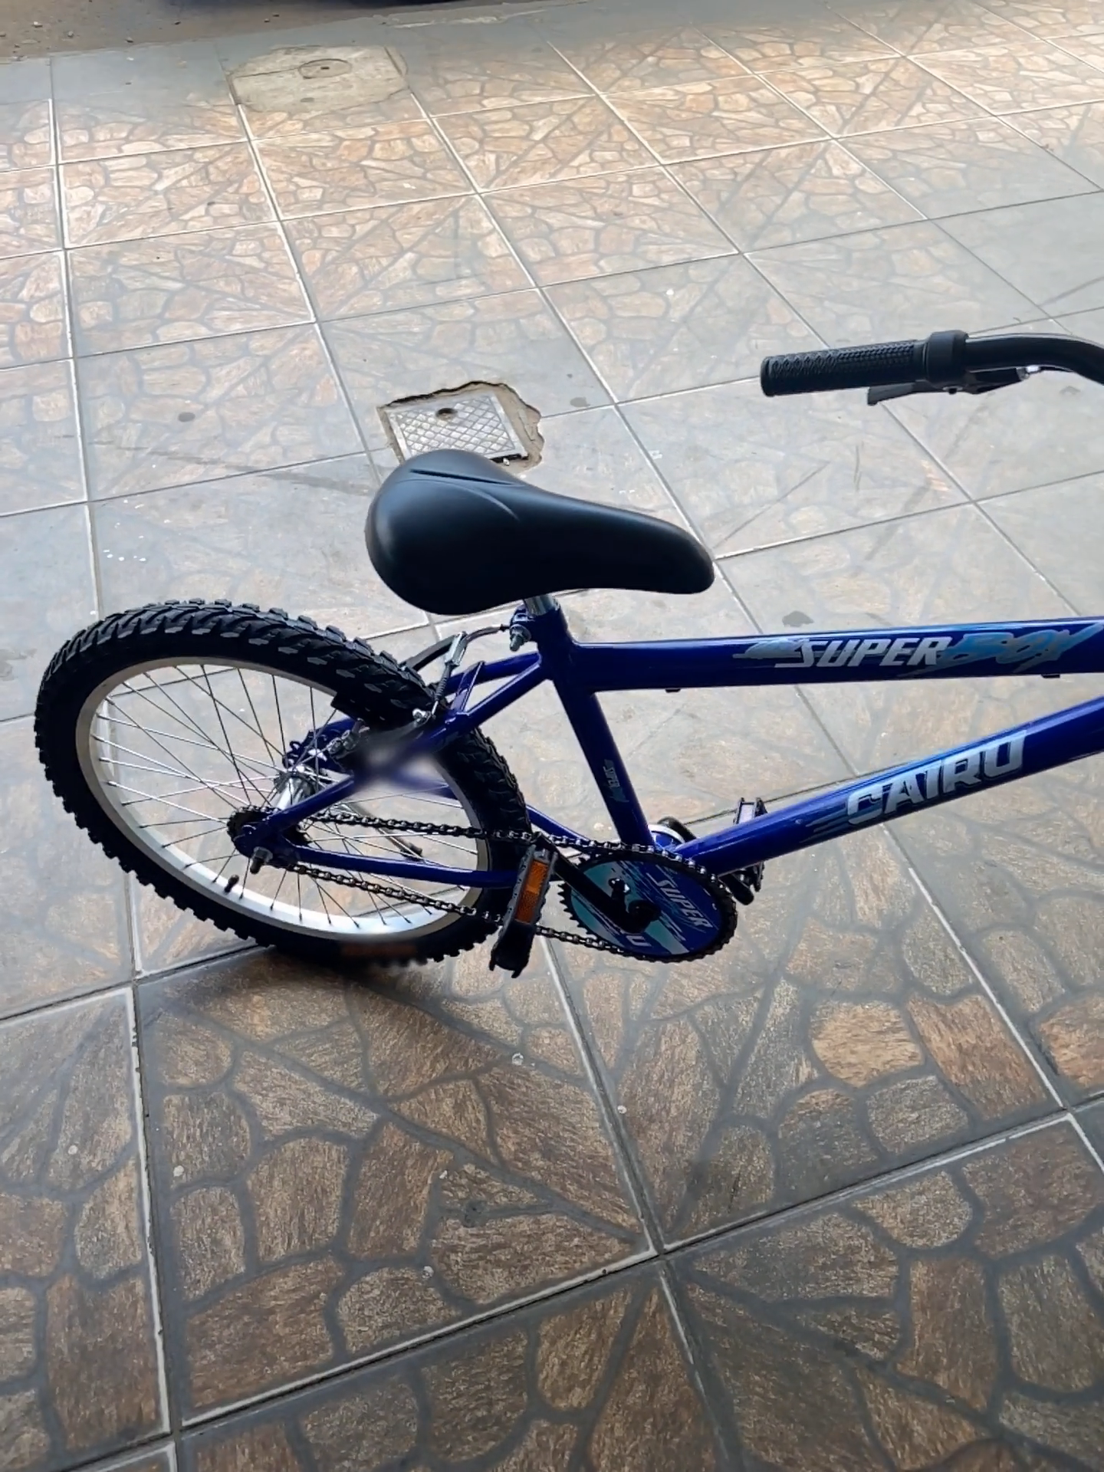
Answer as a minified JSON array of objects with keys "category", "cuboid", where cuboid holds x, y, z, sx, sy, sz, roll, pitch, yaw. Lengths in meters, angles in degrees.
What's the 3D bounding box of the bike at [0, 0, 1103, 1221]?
[{"category":"bike","cuboid":[0.057,-0.066,0.902,1.181,0.950,0.546,2,51,4]}]
